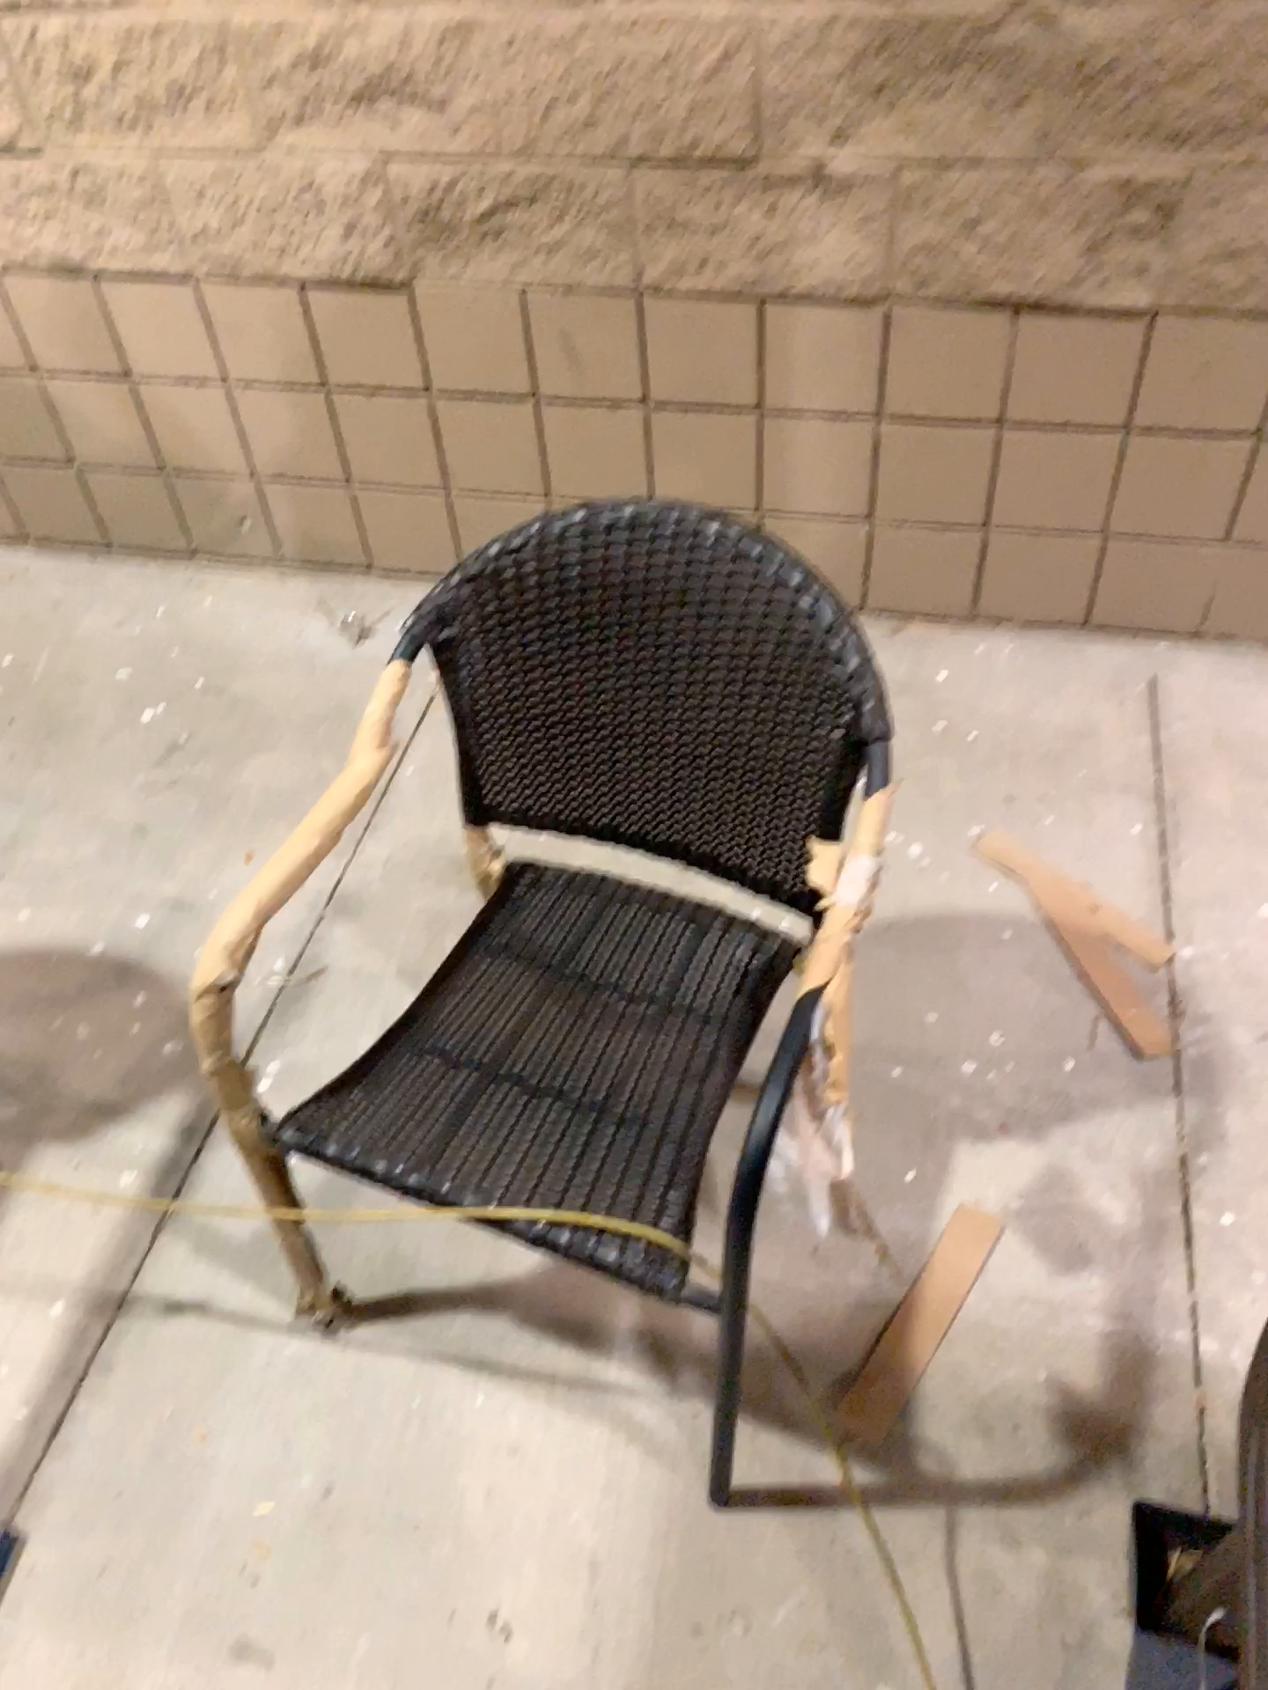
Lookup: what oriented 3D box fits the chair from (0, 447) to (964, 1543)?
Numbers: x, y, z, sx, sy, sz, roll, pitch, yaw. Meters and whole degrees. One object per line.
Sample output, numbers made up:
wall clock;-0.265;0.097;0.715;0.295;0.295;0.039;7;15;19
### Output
chair;-0.069;0.165;1.312;0.576;0.840;0.599;14;49;18
